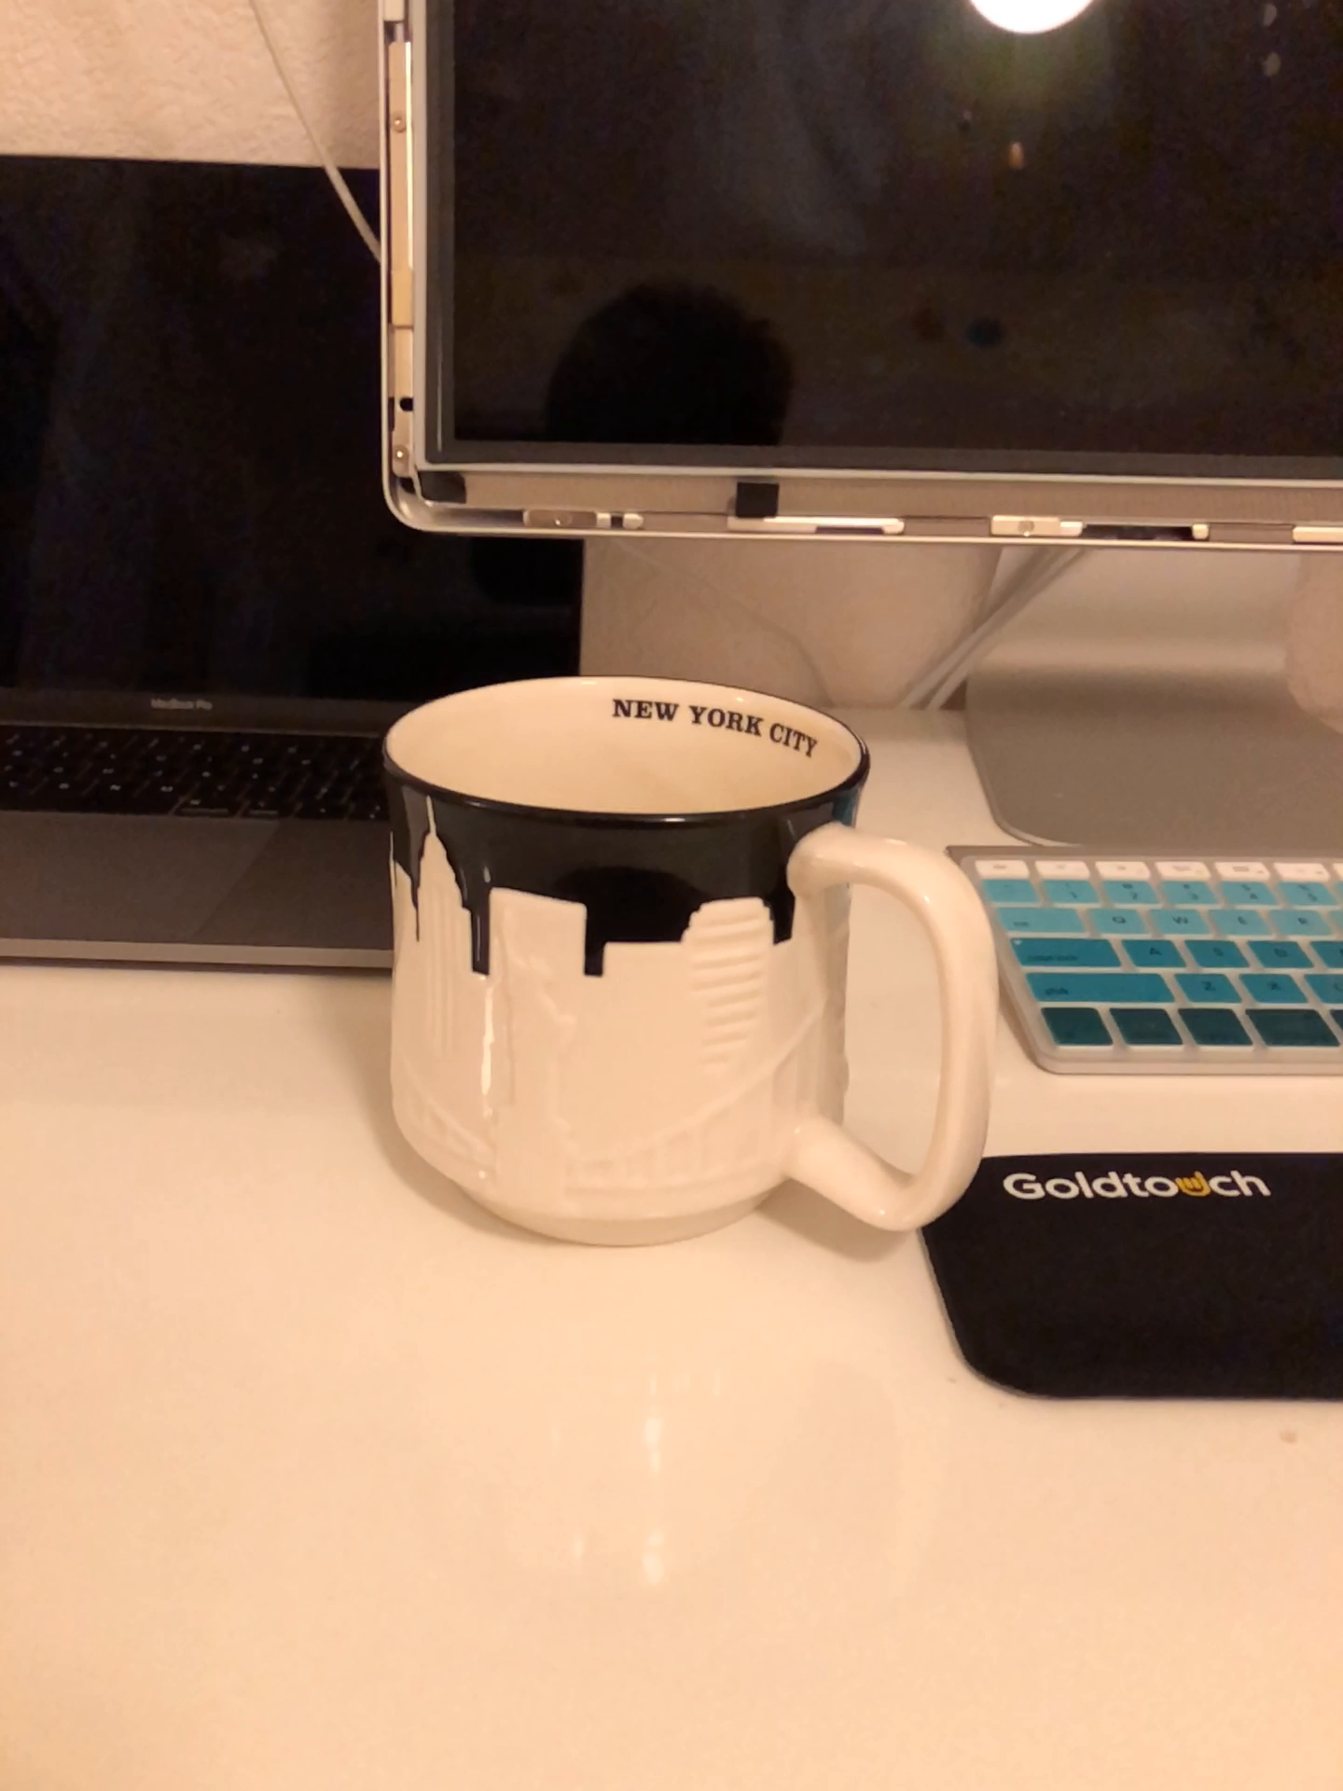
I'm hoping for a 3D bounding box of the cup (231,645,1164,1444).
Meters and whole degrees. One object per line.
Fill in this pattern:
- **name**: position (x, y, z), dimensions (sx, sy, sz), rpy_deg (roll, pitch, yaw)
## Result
- **cup**: position (0.003, 0.014, 0.313), dimensions (0.150, 0.090, 0.110), rpy_deg (19, 28, 34)
